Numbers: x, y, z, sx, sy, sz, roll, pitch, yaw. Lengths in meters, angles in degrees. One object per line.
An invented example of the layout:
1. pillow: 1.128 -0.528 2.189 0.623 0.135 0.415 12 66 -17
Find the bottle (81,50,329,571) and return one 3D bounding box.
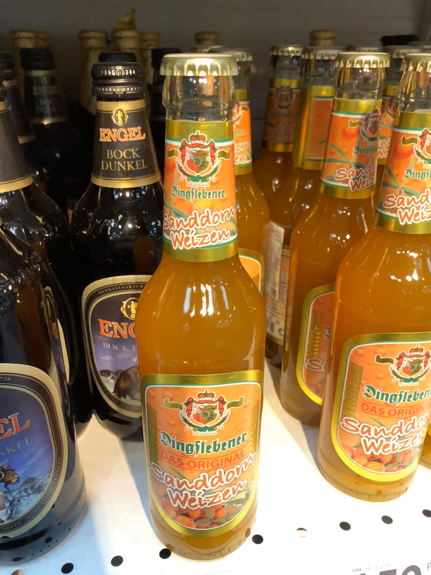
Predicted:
1. bottle: -0.005 0.021 0.212 0.070 0.225 0.060 -2 26 -4
